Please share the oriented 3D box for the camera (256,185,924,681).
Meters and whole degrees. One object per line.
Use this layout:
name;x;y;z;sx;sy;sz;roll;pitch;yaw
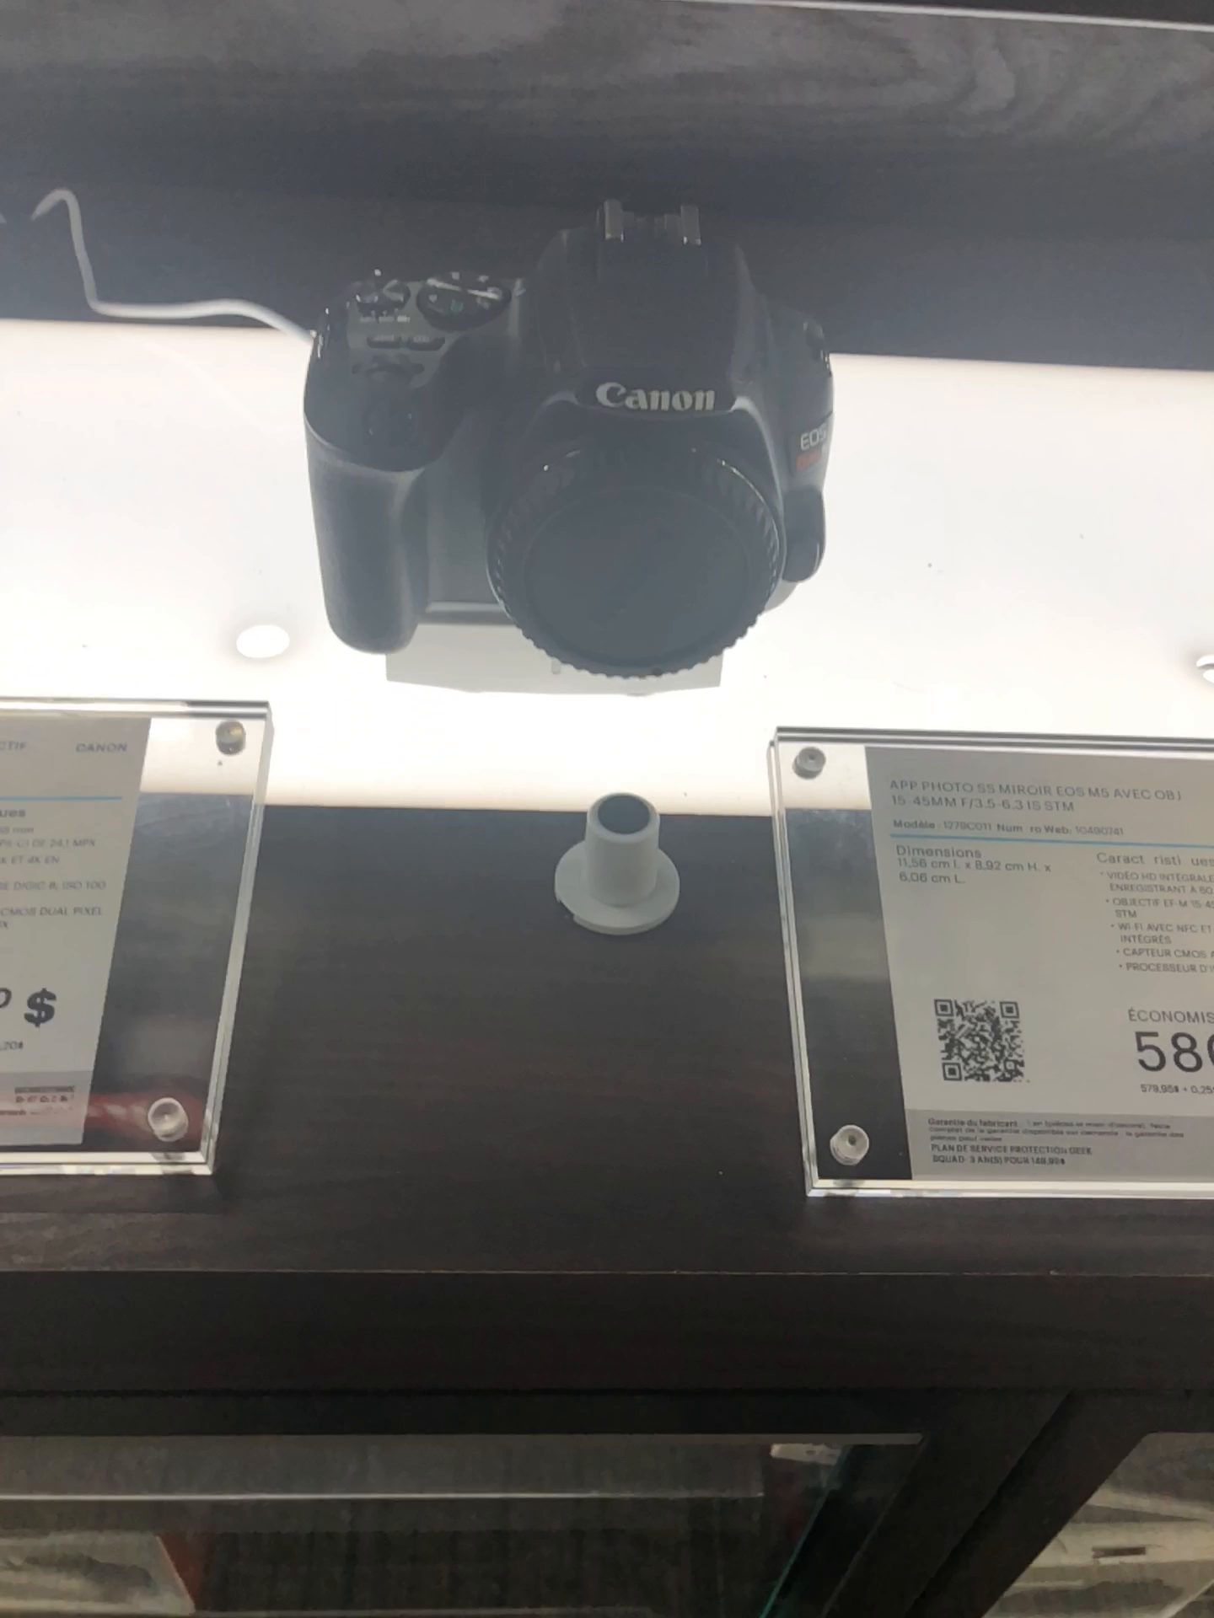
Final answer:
camera;-0.005;-0.084;0.301;0.123;0.071;0.081;2;45;-3
